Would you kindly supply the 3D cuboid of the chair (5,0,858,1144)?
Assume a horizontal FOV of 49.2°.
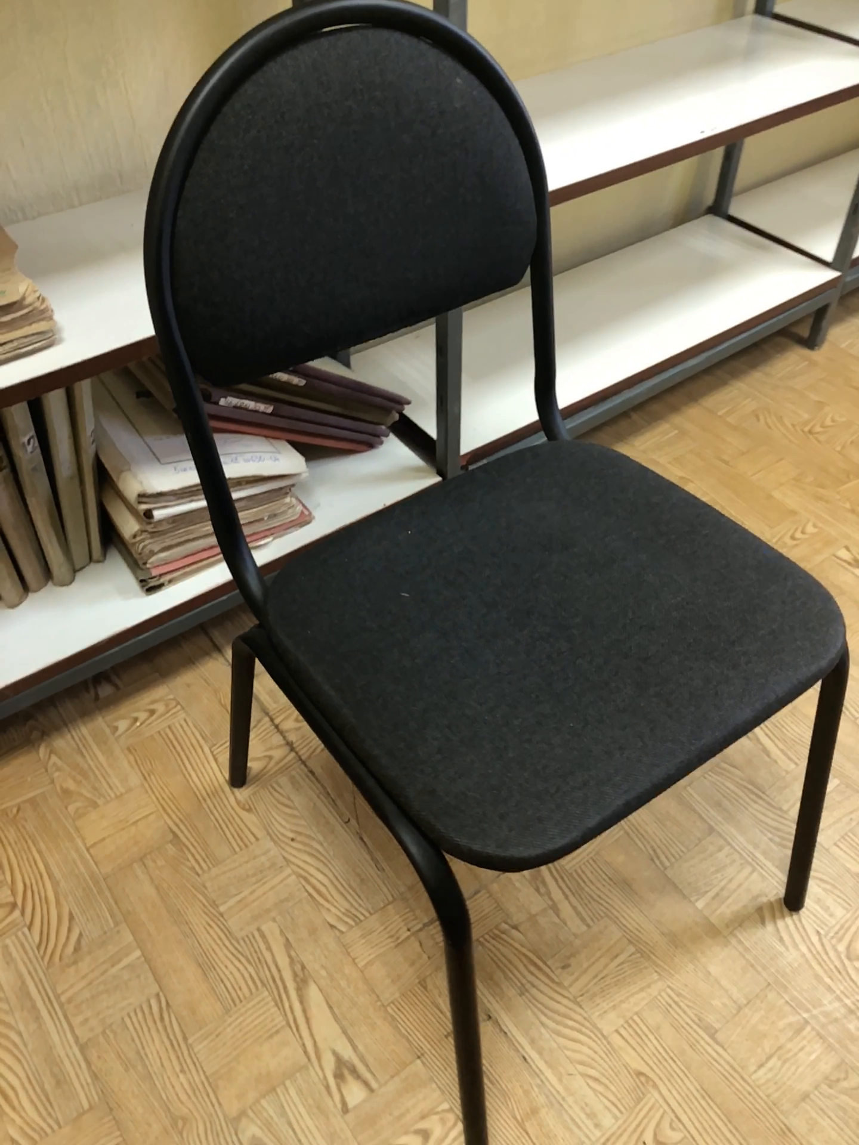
[{"bbox_3d":[0.081,0.025,0.834,0.473,0.835,0.562,-26,52,-23],"label":"chair"}]
